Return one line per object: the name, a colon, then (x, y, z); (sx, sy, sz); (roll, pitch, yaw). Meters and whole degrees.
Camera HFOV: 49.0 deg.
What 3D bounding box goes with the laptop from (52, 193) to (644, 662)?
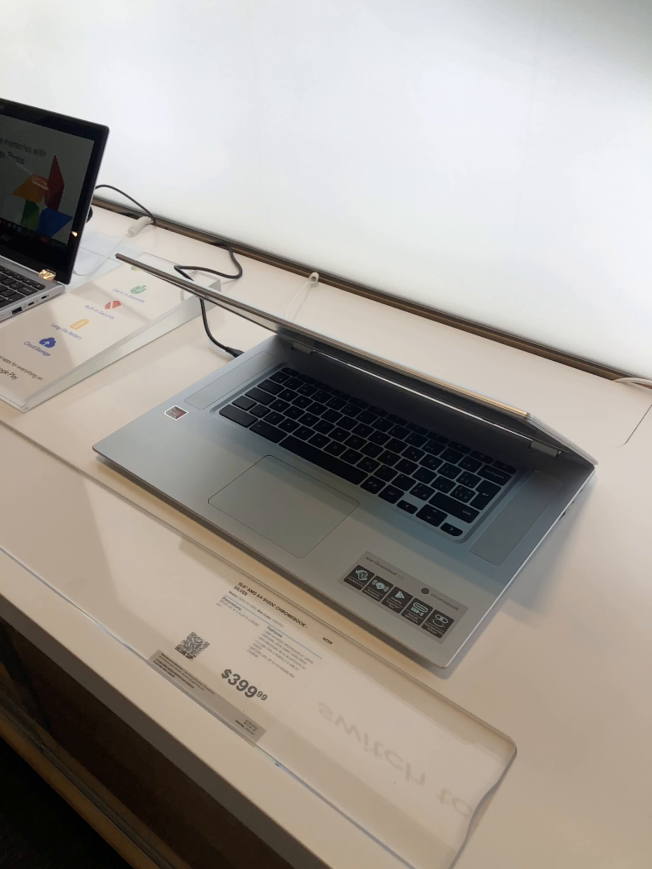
laptop: (0.012, -0.046, 0.591); (0.369, 0.166, 0.255); (26, 45, 30)
